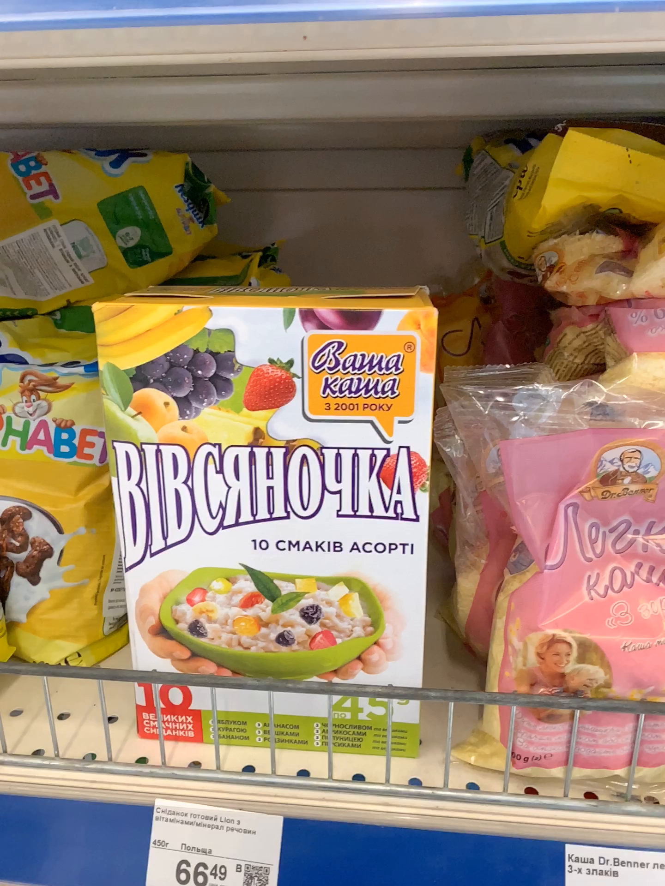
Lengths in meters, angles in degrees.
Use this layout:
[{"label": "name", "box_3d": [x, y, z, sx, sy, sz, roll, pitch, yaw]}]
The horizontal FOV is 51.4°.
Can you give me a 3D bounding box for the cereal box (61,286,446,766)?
[{"label": "cereal box", "box_3d": [-0.028, 0.036, 0.328, 0.150, 0.209, 0.070, 2, 17, 6]}]
